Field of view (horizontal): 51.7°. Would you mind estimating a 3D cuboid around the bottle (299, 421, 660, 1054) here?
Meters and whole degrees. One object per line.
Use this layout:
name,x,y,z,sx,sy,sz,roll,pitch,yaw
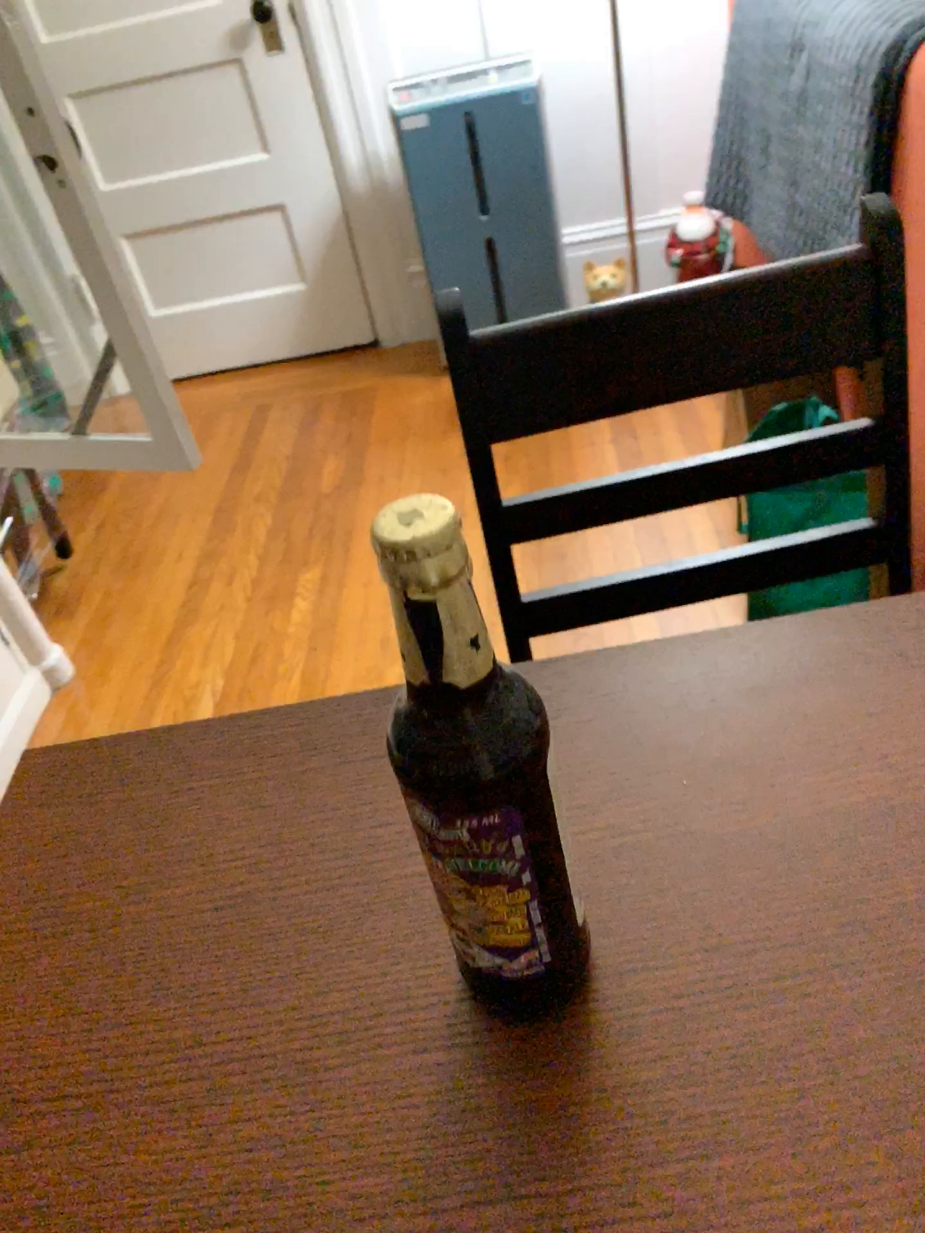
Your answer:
bottle,0.016,0.056,0.347,0.070,0.229,0.070,-8,38,7
